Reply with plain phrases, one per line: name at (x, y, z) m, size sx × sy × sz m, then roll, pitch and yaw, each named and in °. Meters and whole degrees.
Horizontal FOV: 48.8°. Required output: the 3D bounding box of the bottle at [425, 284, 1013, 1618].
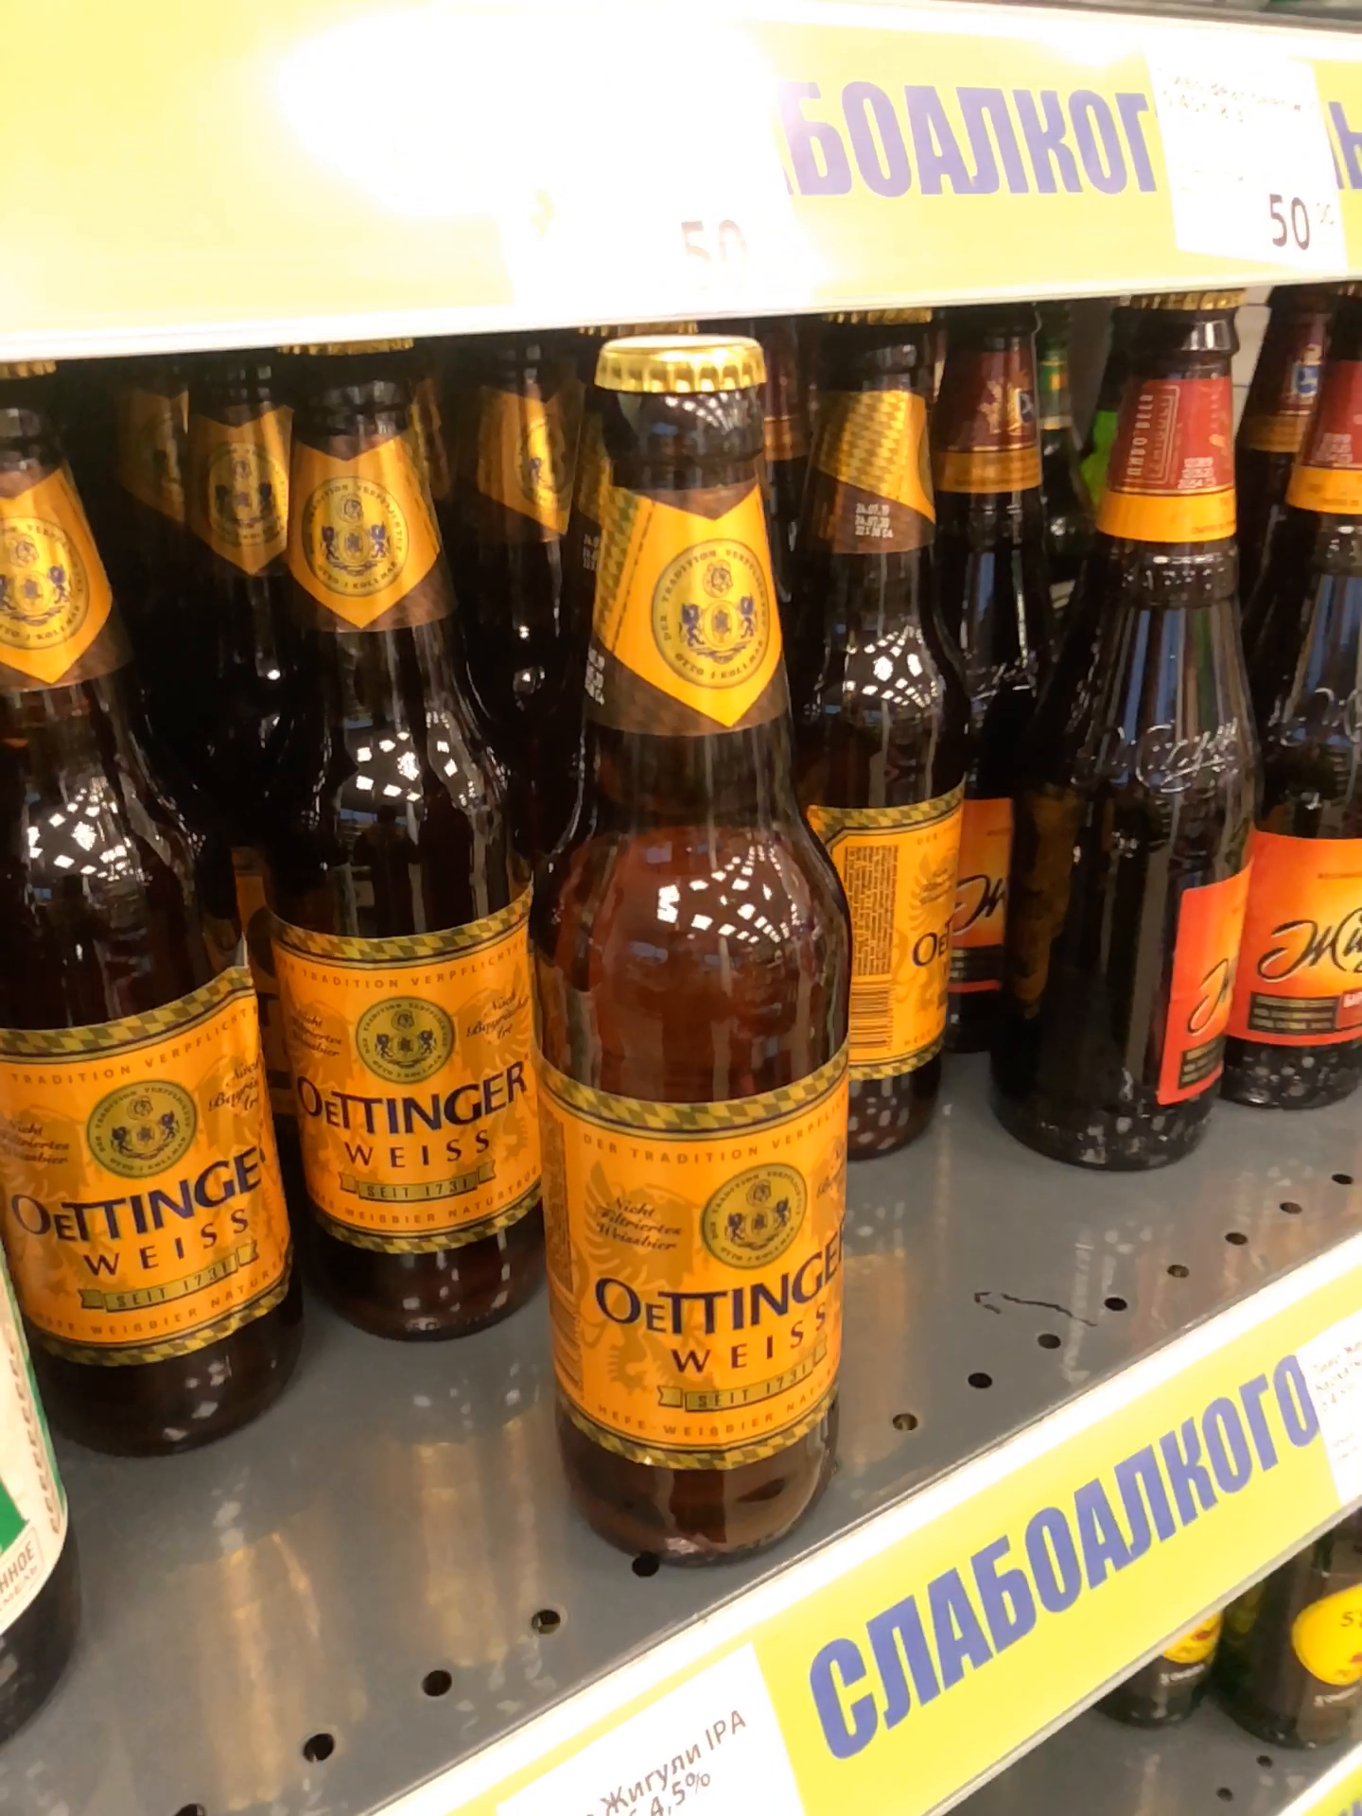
bottle at (0.002, 0.013, 0.291) m, size 0.071 × 0.243 × 0.070 m, roll 0°, pitch 26°, yaw 0°
